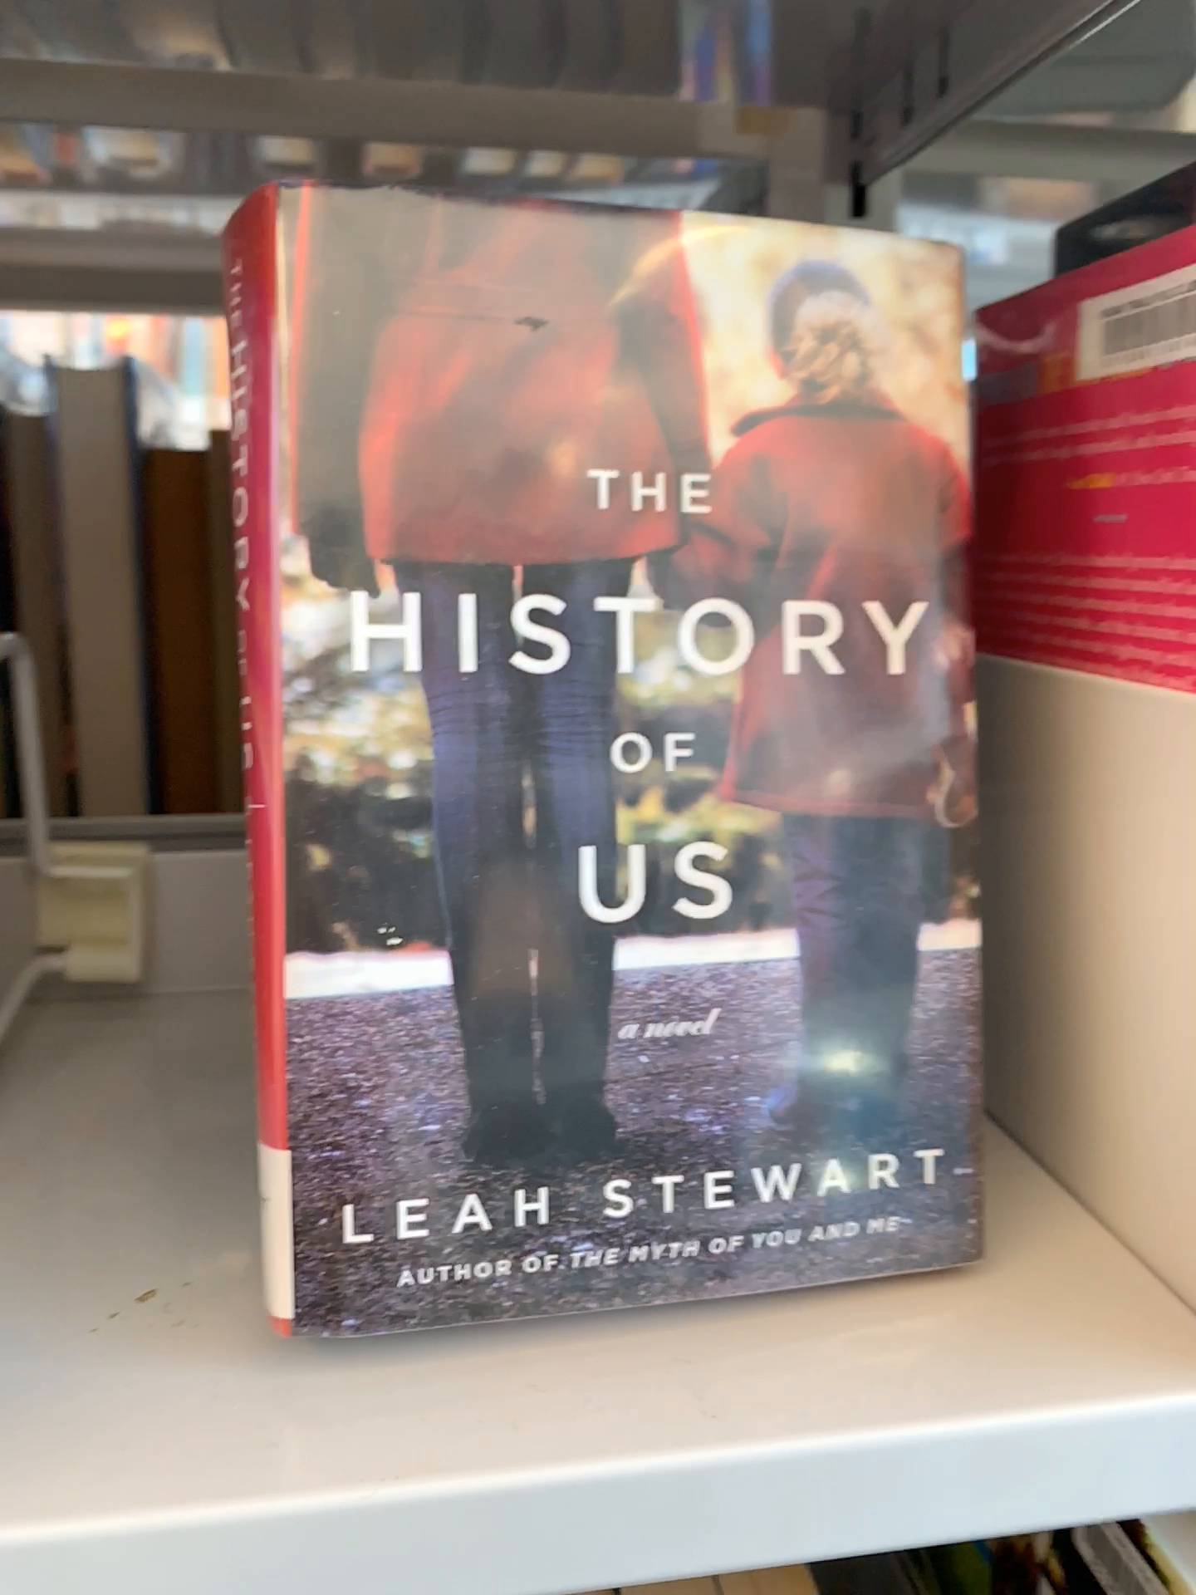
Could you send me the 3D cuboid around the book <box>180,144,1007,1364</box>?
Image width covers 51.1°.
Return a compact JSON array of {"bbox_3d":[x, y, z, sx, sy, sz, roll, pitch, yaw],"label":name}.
[{"bbox_3d":[0.001,-0.011,0.259,0.152,0.220,0.040,-3,1,-11],"label":"book"}]
